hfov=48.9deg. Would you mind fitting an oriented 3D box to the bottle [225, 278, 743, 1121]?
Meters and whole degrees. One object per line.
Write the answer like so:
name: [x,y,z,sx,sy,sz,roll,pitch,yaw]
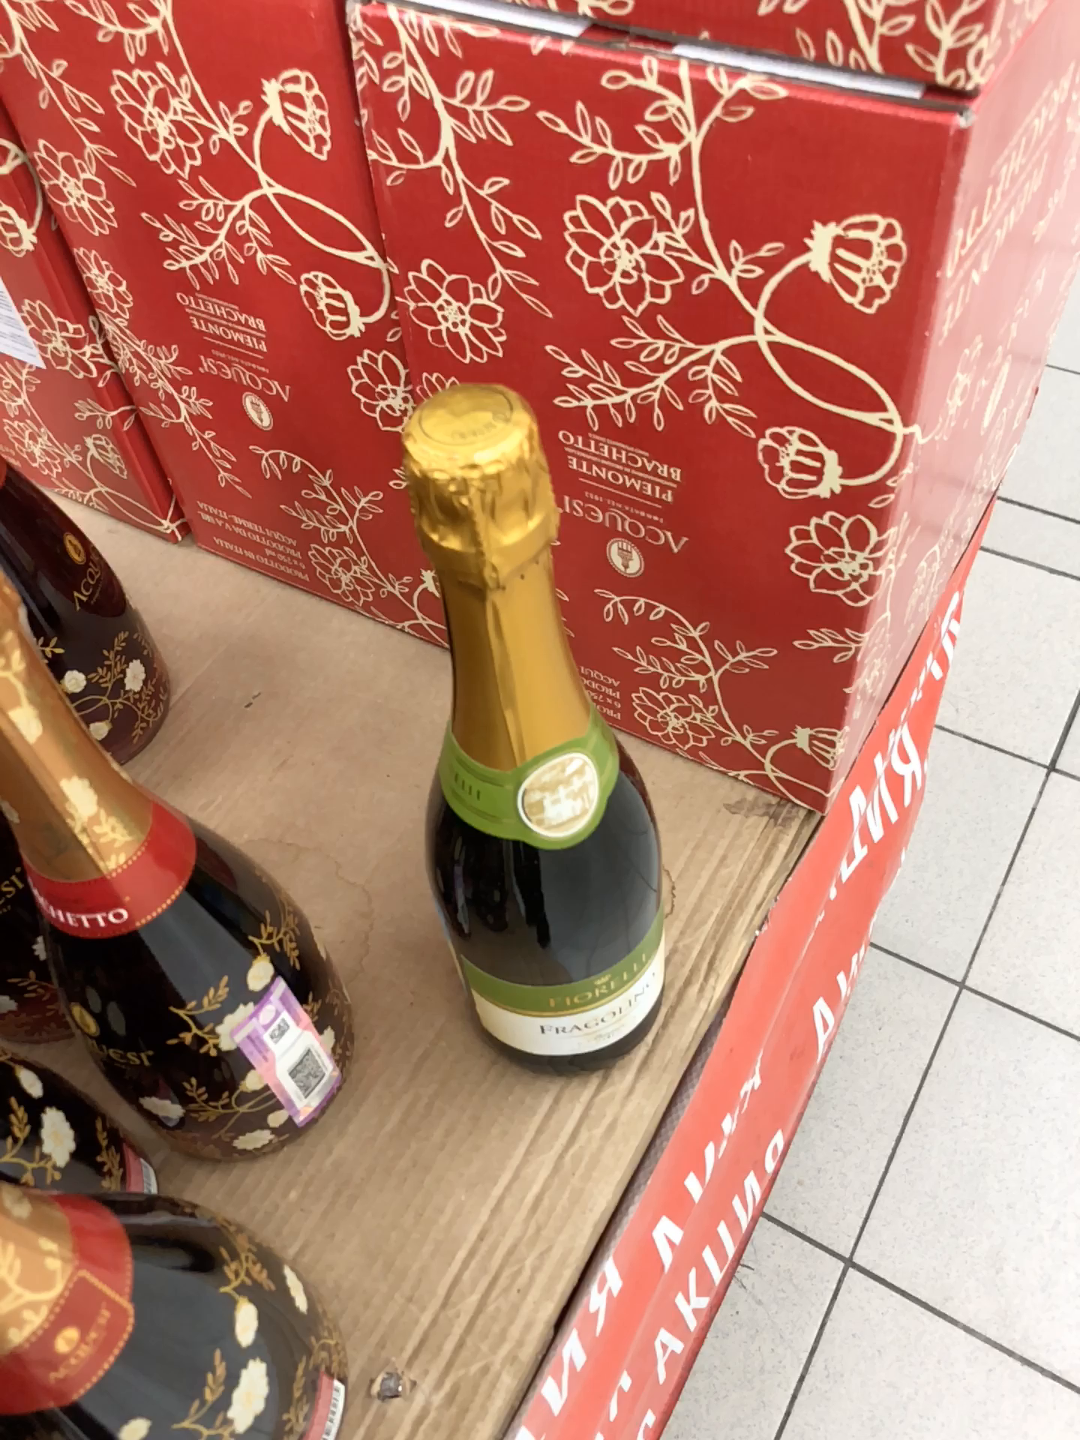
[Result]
bottle: [-0.004,0.022,0.387,0.090,0.289,0.090,-3,53,4]
